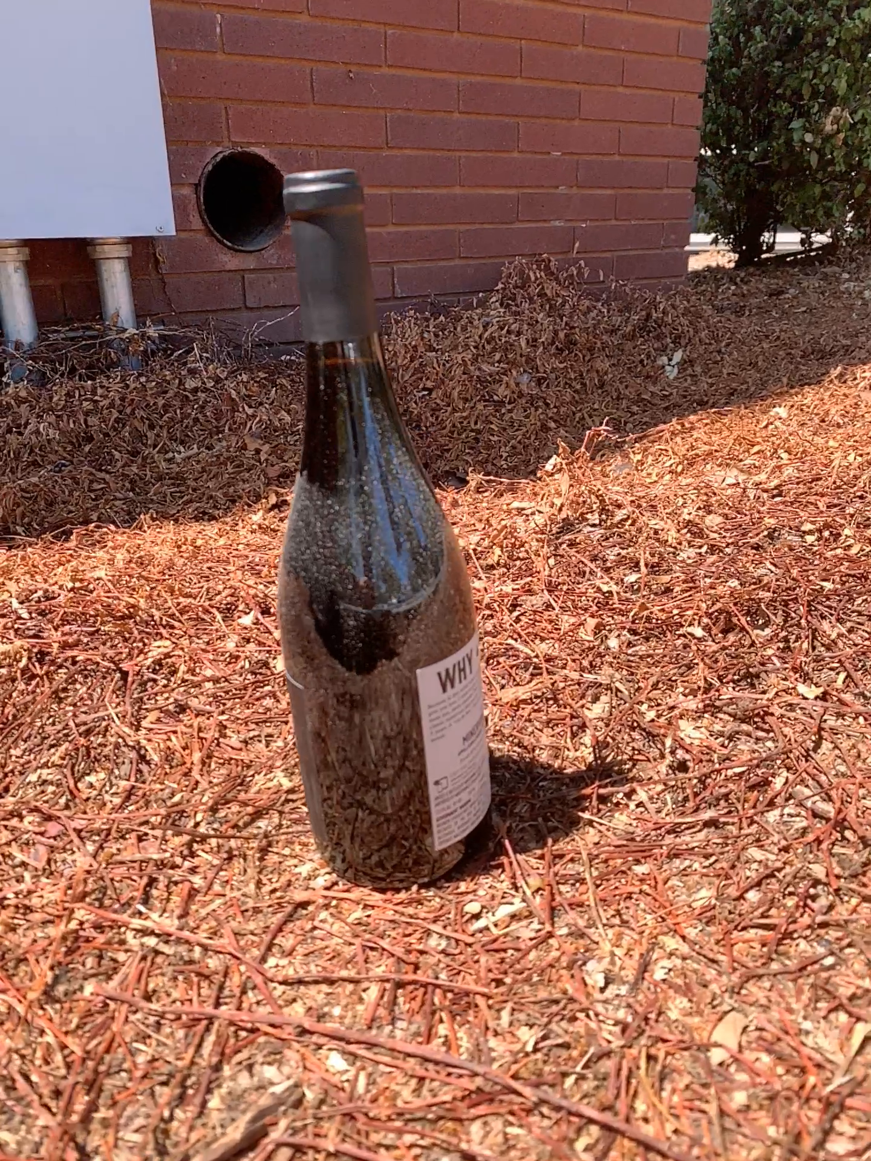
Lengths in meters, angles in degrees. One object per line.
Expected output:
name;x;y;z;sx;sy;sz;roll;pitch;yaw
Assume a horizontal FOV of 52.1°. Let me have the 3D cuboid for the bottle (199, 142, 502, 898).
bottle;-0.023;-0.017;0.357;0.090;0.279;0.090;0;21;0
